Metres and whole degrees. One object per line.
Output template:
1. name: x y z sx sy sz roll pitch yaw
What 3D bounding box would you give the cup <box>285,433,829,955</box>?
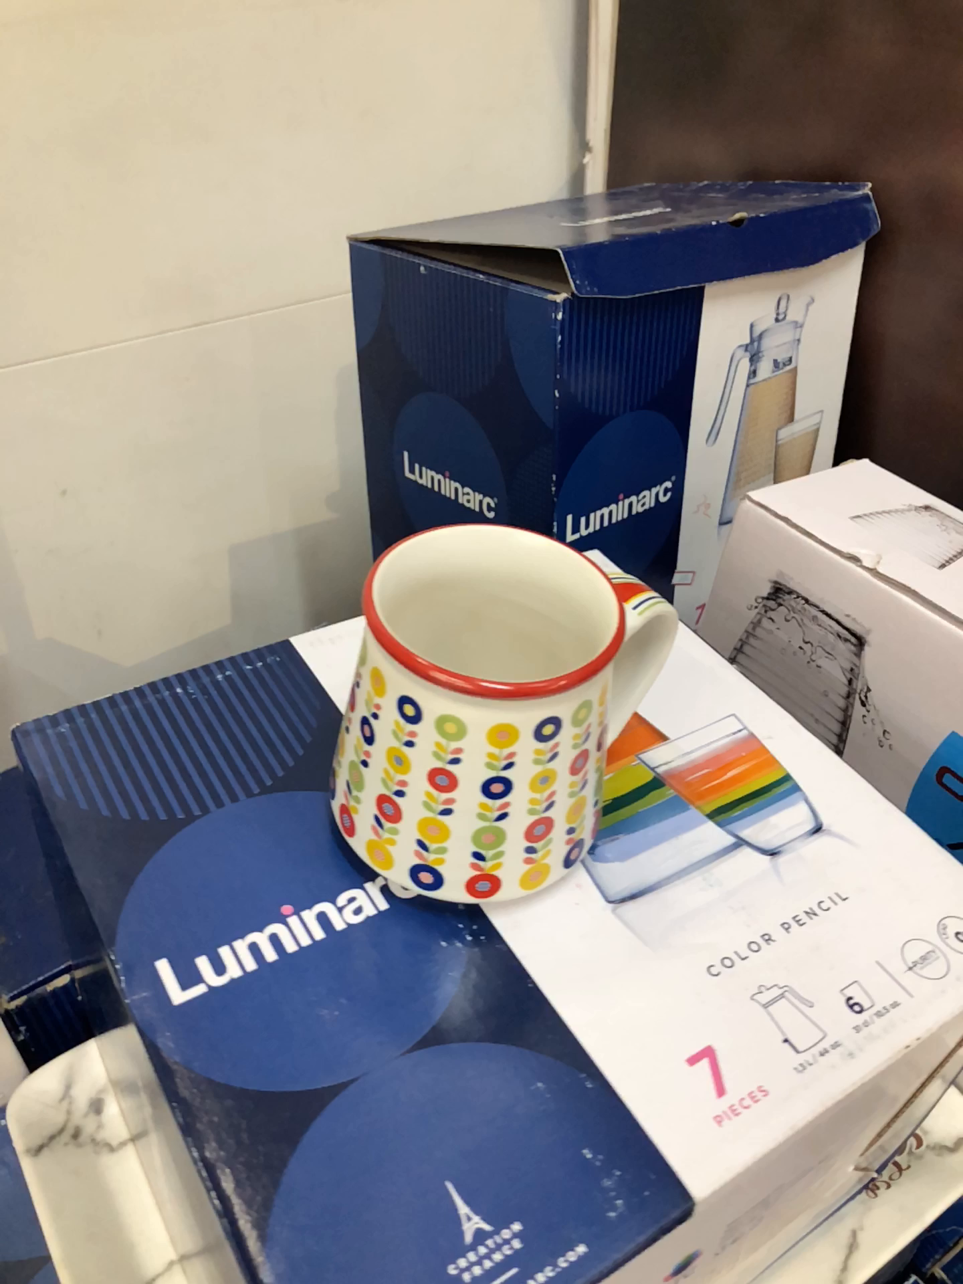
1. cup: 0.019 0.010 0.326 0.131 0.089 0.080 -22 48 -28
